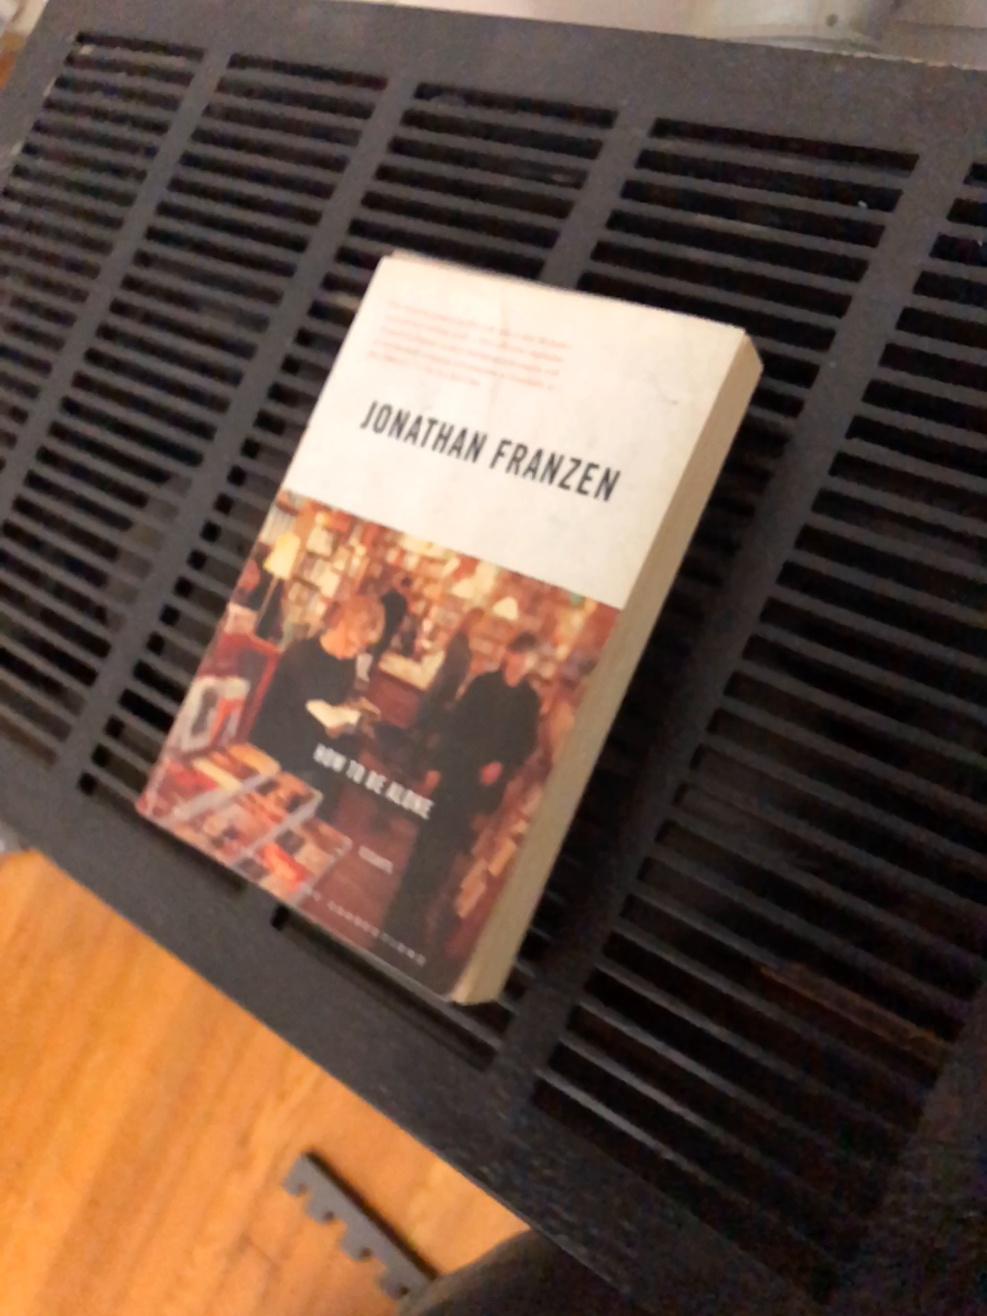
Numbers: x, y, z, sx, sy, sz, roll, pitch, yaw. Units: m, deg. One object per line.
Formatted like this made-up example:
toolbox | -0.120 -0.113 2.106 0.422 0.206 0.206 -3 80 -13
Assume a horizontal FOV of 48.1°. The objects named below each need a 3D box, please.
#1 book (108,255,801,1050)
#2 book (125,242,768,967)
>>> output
book | -0.017 -0.014 0.345 0.150 0.030 0.210 21 85 29
book | -0.020 -0.028 0.372 0.150 0.030 0.210 21 85 29
